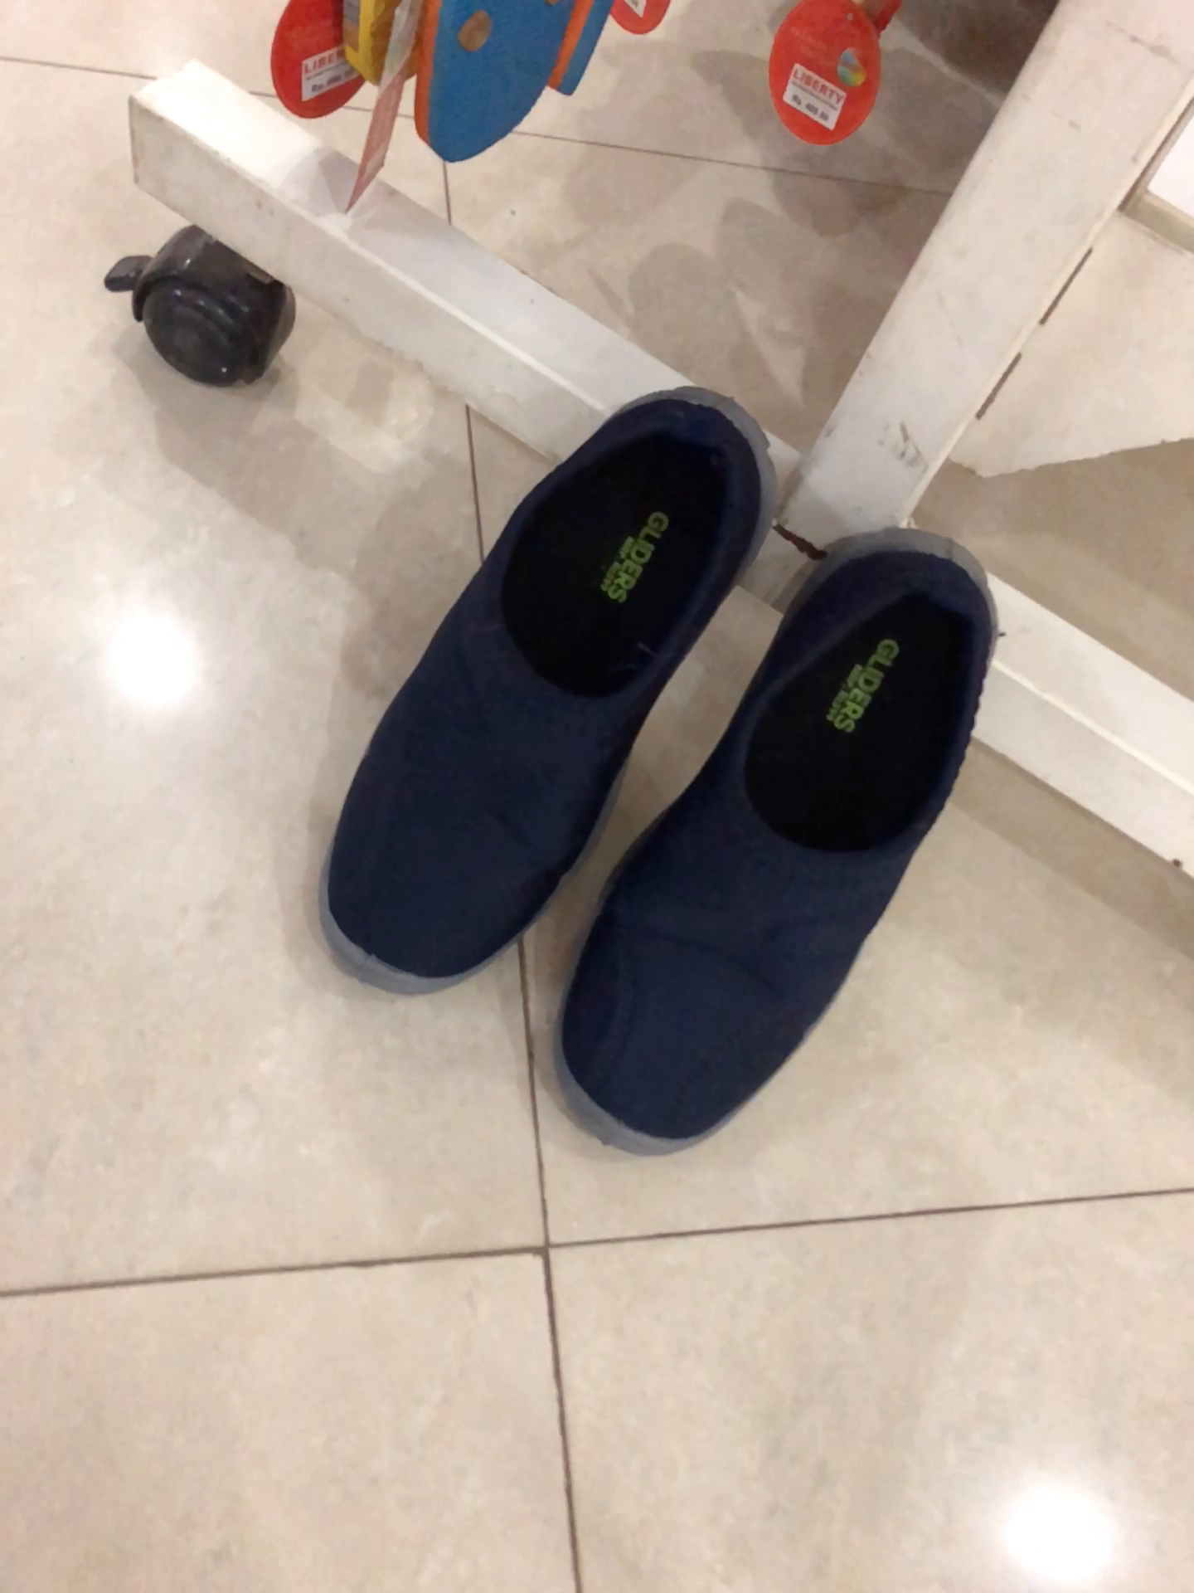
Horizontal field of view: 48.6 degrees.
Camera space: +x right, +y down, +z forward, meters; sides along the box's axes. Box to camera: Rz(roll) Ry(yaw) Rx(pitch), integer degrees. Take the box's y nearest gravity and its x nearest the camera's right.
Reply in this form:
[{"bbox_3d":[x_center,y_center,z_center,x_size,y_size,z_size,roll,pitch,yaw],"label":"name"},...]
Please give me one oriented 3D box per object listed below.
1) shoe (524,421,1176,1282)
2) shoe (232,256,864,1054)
[{"bbox_3d":[0.160,0.036,0.896,0.186,0.208,0.489,28,83,5],"label":"shoe"},{"bbox_3d":[-0.026,-0.081,0.879,0.160,0.200,0.460,31,85,2],"label":"shoe"}]
